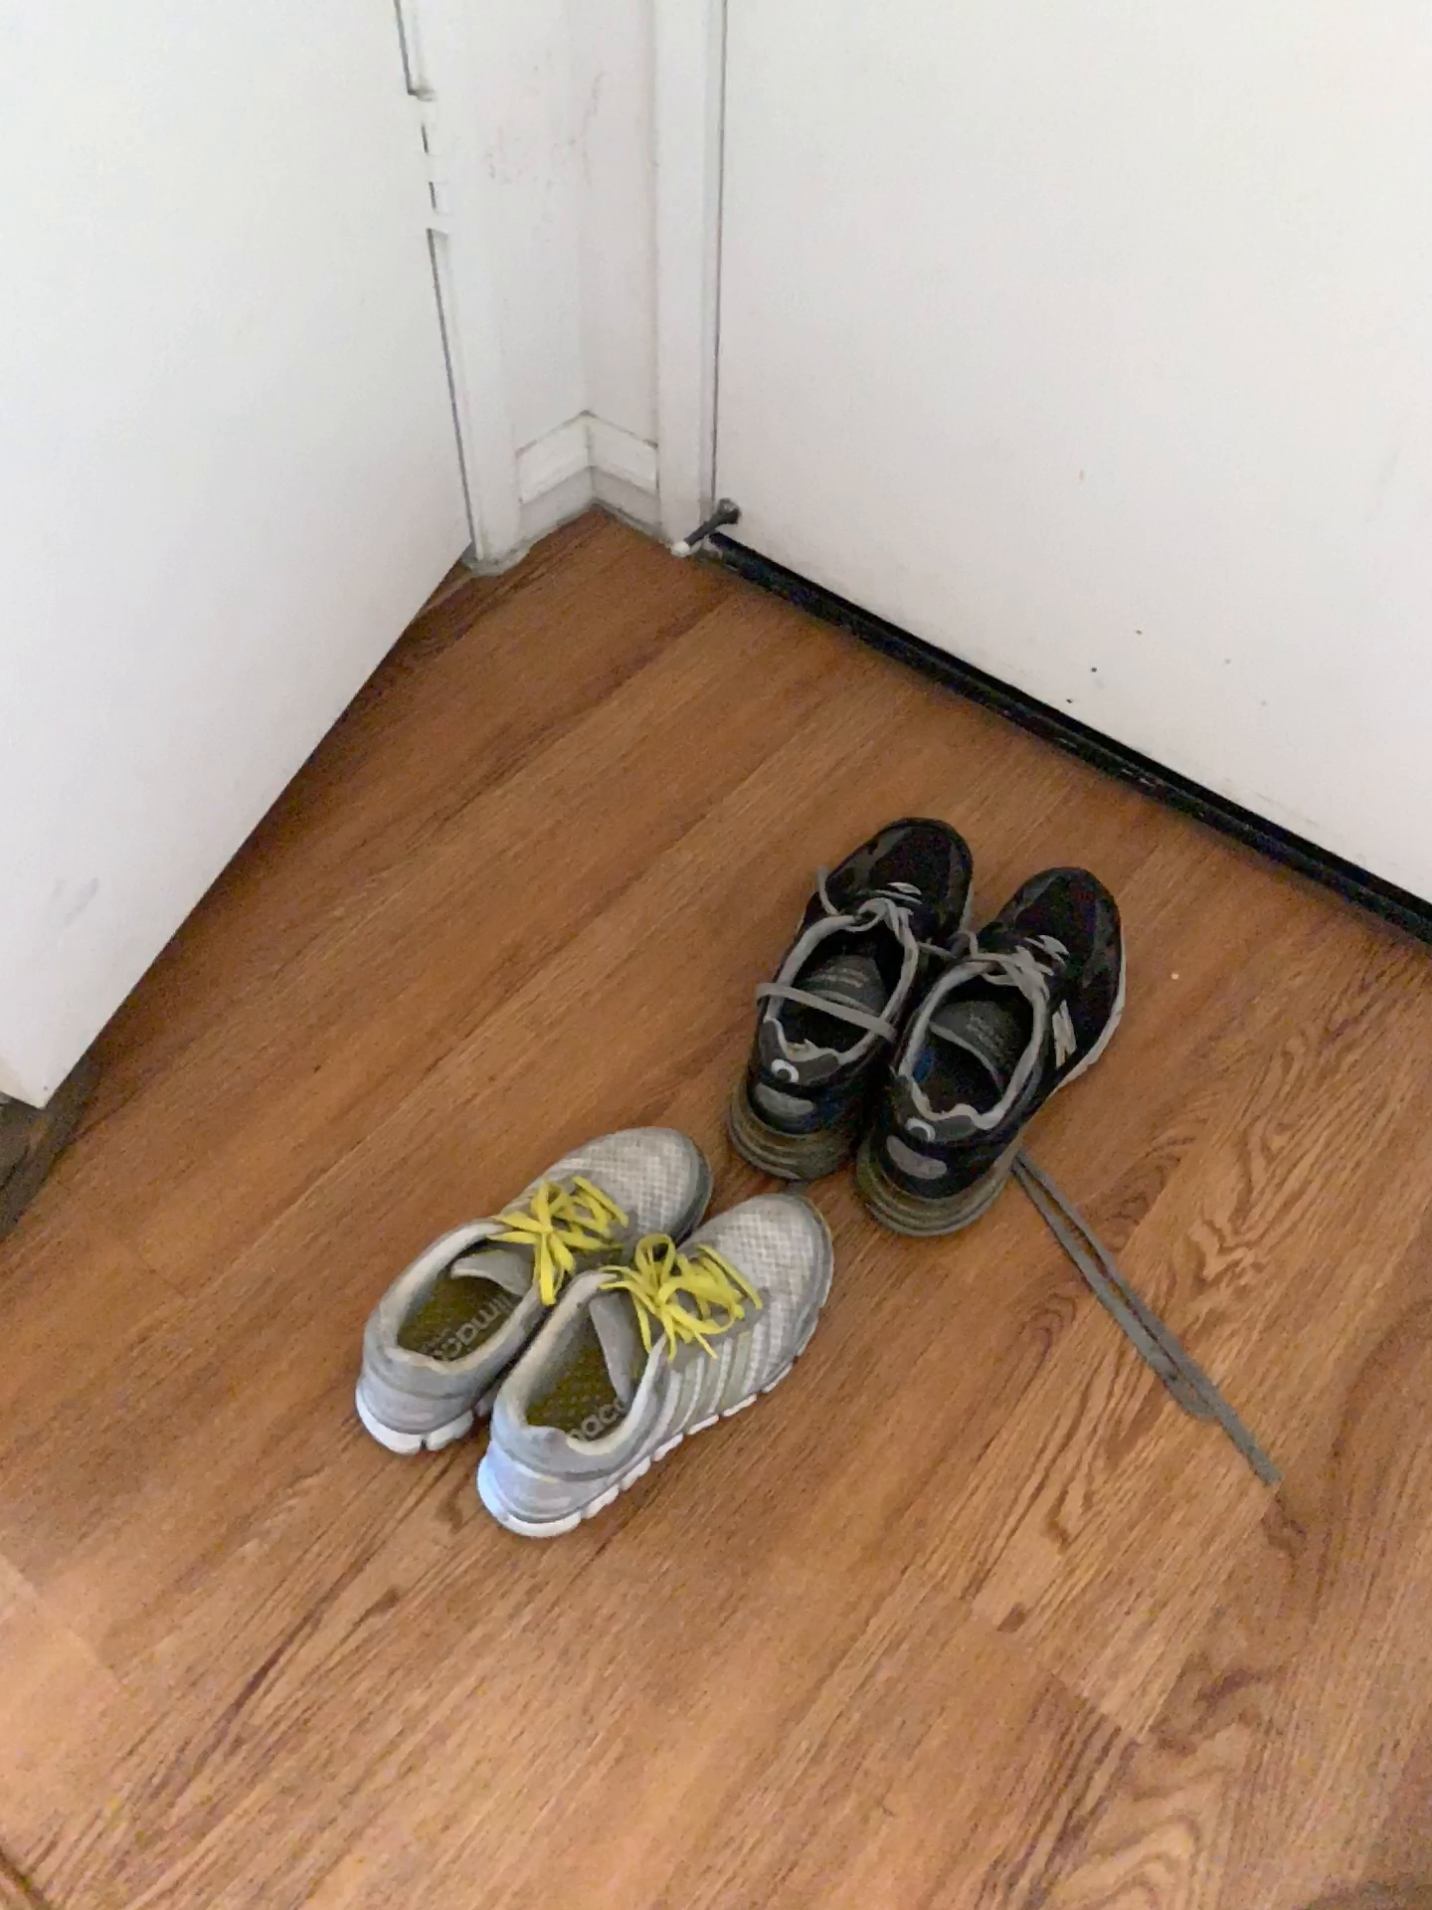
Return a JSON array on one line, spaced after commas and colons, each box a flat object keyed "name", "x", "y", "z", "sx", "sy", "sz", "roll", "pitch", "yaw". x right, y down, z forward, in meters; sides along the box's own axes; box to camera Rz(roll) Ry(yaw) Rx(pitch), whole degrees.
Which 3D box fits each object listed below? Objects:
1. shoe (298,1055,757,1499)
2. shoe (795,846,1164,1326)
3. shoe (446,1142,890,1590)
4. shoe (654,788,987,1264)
[{"name": "shoe", "x": -0.106, "y": 0.194, "z": 0.870, "sx": 0.260, "sy": 0.169, "sz": 0.070, "roll": -35, "pitch": 70, "yaw": -24}, {"name": "shoe", "x": 0.190, "y": 0.091, "z": 1.051, "sx": 0.100, "sy": 0.169, "sz": 0.301, "roll": 31, "pitch": 59, "yaw": 14}, {"name": "shoe", "x": -0.031, "y": 0.252, "z": 0.888, "sx": 0.250, "sy": 0.169, "sz": 0.090, "roll": -35, "pitch": 70, "yaw": -24}, {"name": "shoe", "x": 0.079, "y": 0.050, "z": 1.098, "sx": 0.100, "sy": 0.169, "sz": 0.311, "roll": 27, "pitch": 57, "yaw": 12}]
